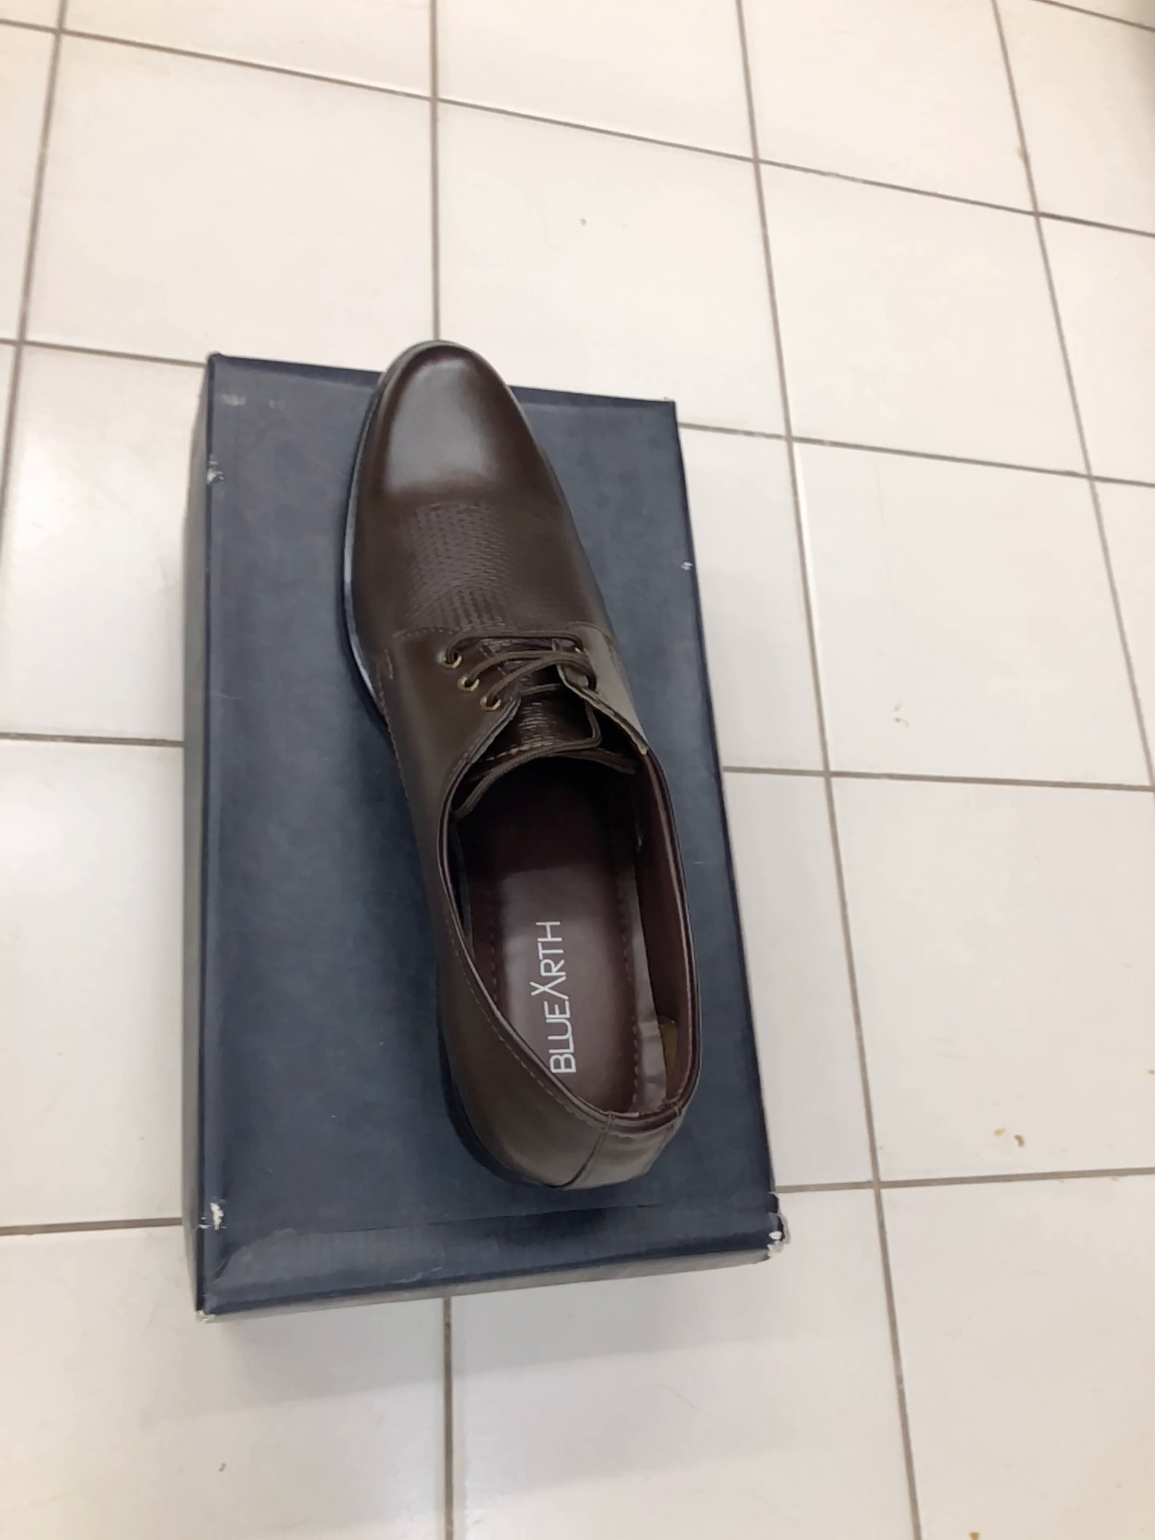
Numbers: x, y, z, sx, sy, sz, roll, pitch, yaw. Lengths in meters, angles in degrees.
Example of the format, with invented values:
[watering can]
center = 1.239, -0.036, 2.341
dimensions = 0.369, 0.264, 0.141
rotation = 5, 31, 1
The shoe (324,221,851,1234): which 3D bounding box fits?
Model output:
[shoe]
center = -0.012, -0.016, 0.416
dimensions = 0.110, 0.100, 0.301
rotation = -2, 72, -17
